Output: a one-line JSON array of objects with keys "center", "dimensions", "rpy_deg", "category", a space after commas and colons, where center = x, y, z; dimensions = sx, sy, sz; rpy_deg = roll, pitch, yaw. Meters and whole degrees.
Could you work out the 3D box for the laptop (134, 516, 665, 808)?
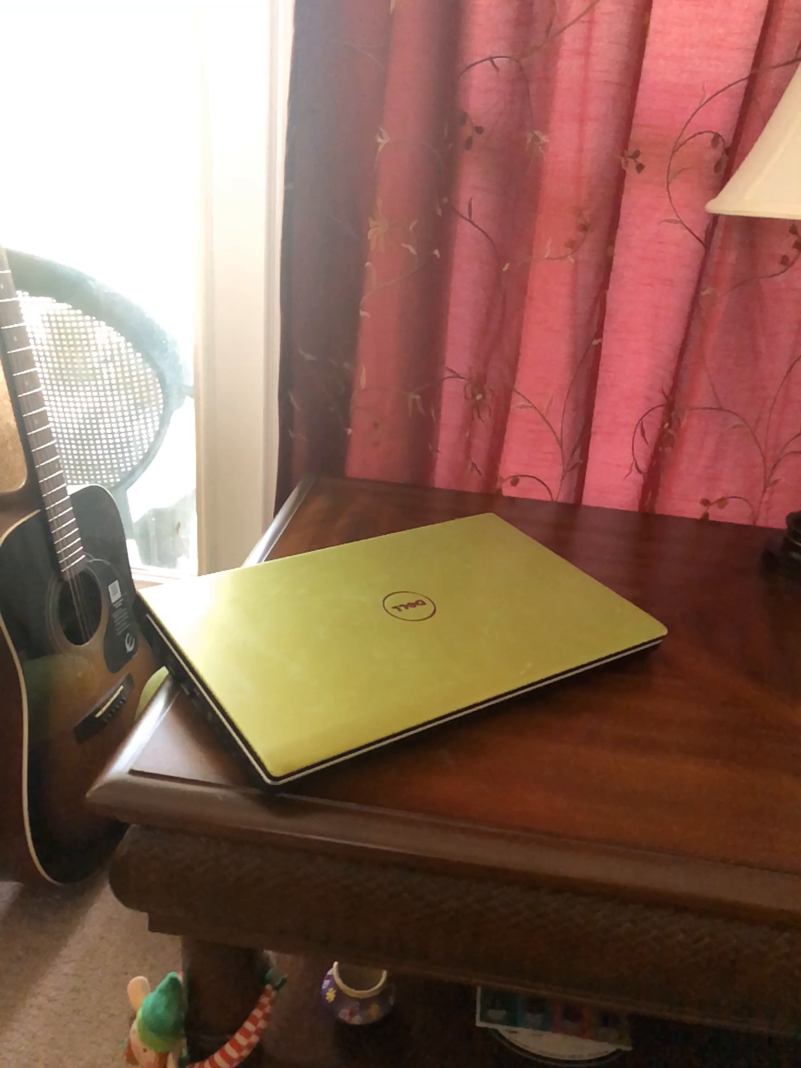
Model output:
[{"center": [0.004, 0.077, 0.737], "dimensions": [0.378, 0.020, 0.237], "rpy_deg": [-12, 34, -32], "category": "laptop"}]
